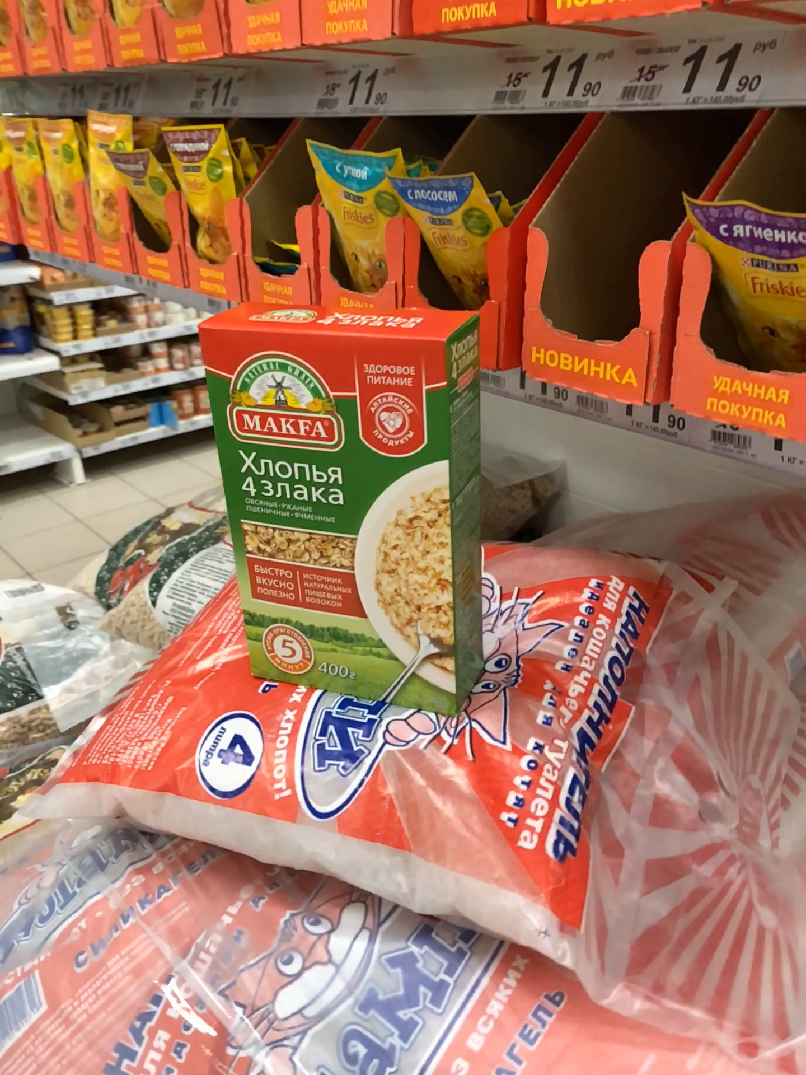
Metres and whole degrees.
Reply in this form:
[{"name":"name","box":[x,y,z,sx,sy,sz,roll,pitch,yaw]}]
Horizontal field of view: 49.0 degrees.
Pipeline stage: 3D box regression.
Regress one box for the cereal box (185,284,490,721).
[{"name":"cereal box","box":[-0.030,-0.017,0.479,0.140,0.219,0.050,8,28,18]}]
